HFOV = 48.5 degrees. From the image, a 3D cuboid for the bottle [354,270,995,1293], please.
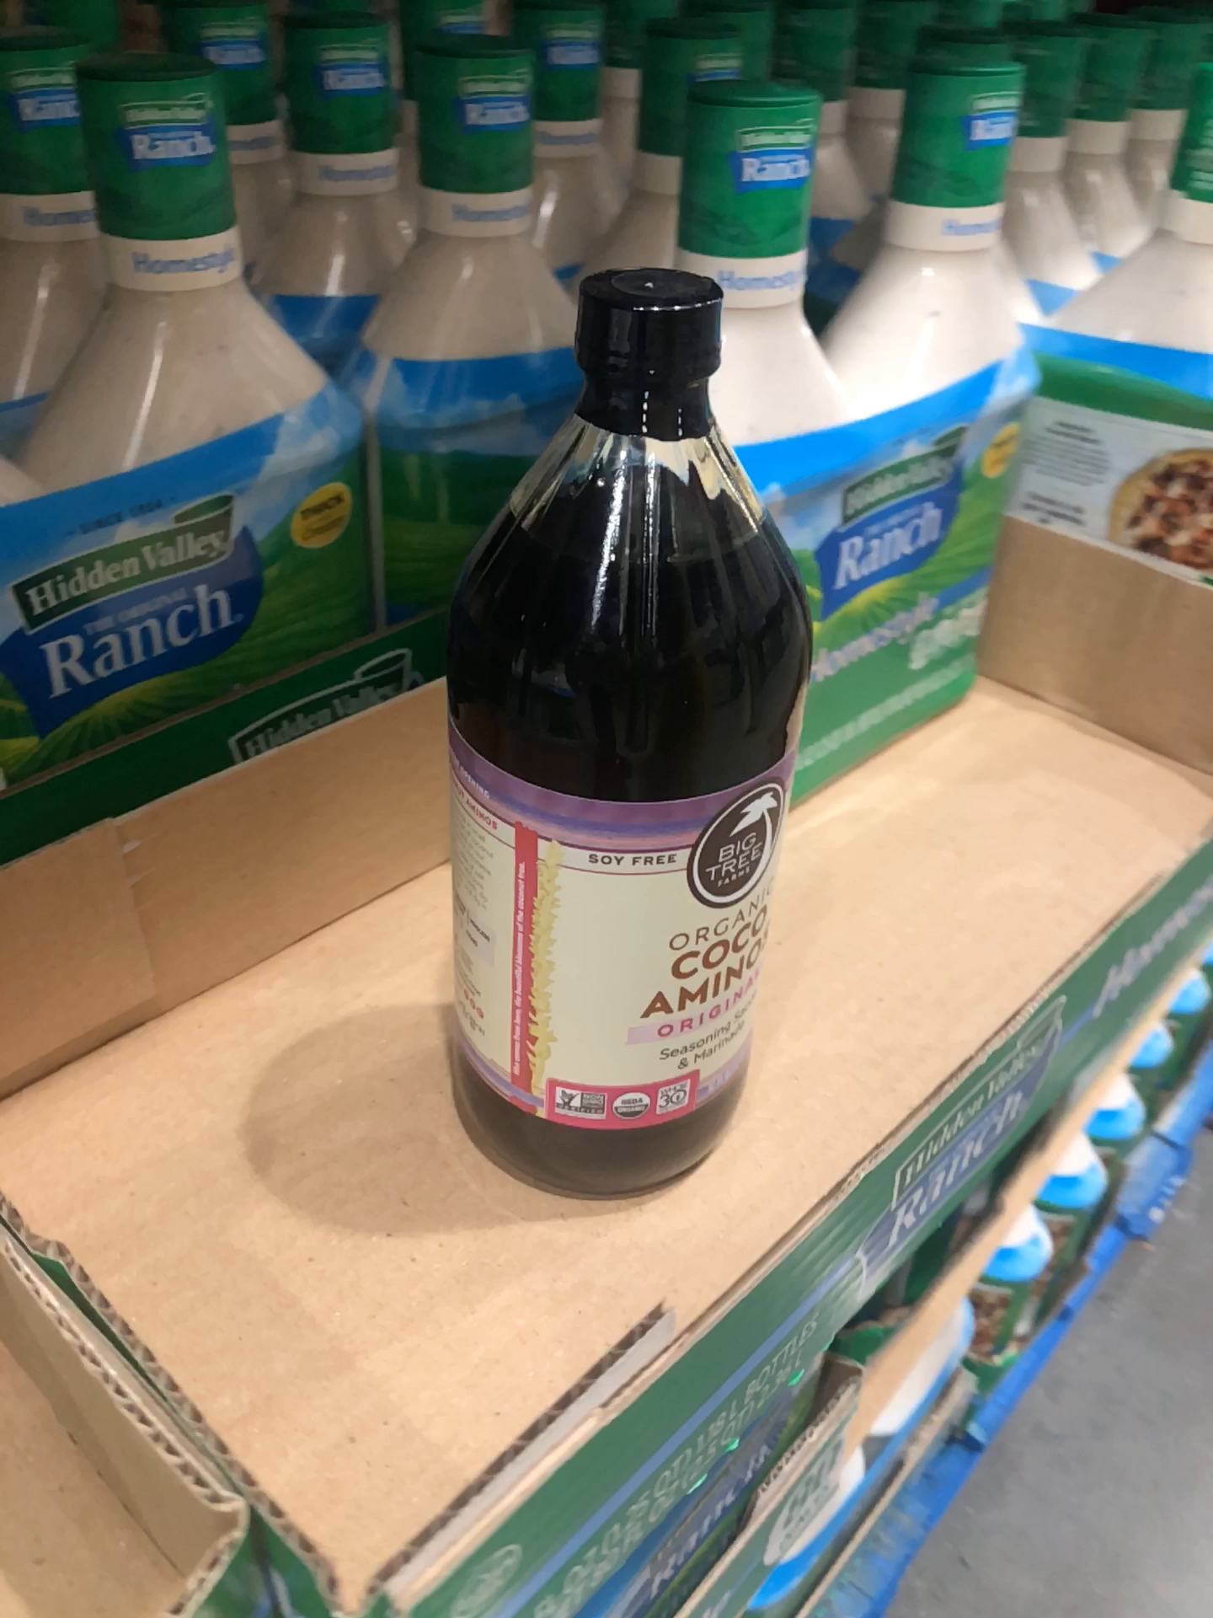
[{"bbox_3d":[0.009,-0.003,0.348,0.100,0.229,0.090,-23,43,-33],"label":"bottle"}]
